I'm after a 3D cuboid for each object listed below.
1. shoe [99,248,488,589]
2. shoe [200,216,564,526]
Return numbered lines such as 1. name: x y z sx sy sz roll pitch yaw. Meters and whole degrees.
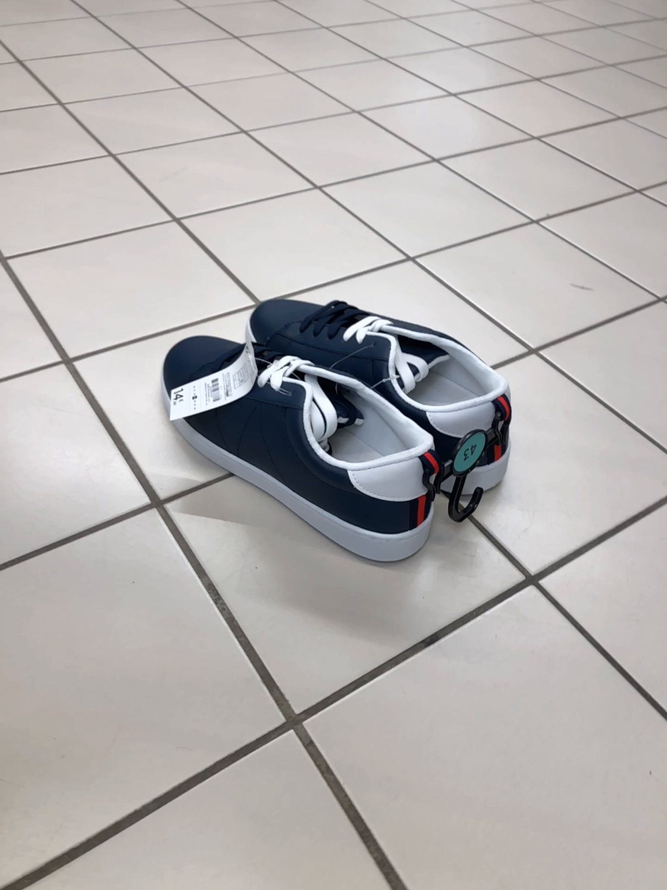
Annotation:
1. shoe: -0.041 -0.034 0.561 0.290 0.099 0.101 33 50 26
2. shoe: 0.025 -0.074 0.606 0.290 0.099 0.101 35 51 28
